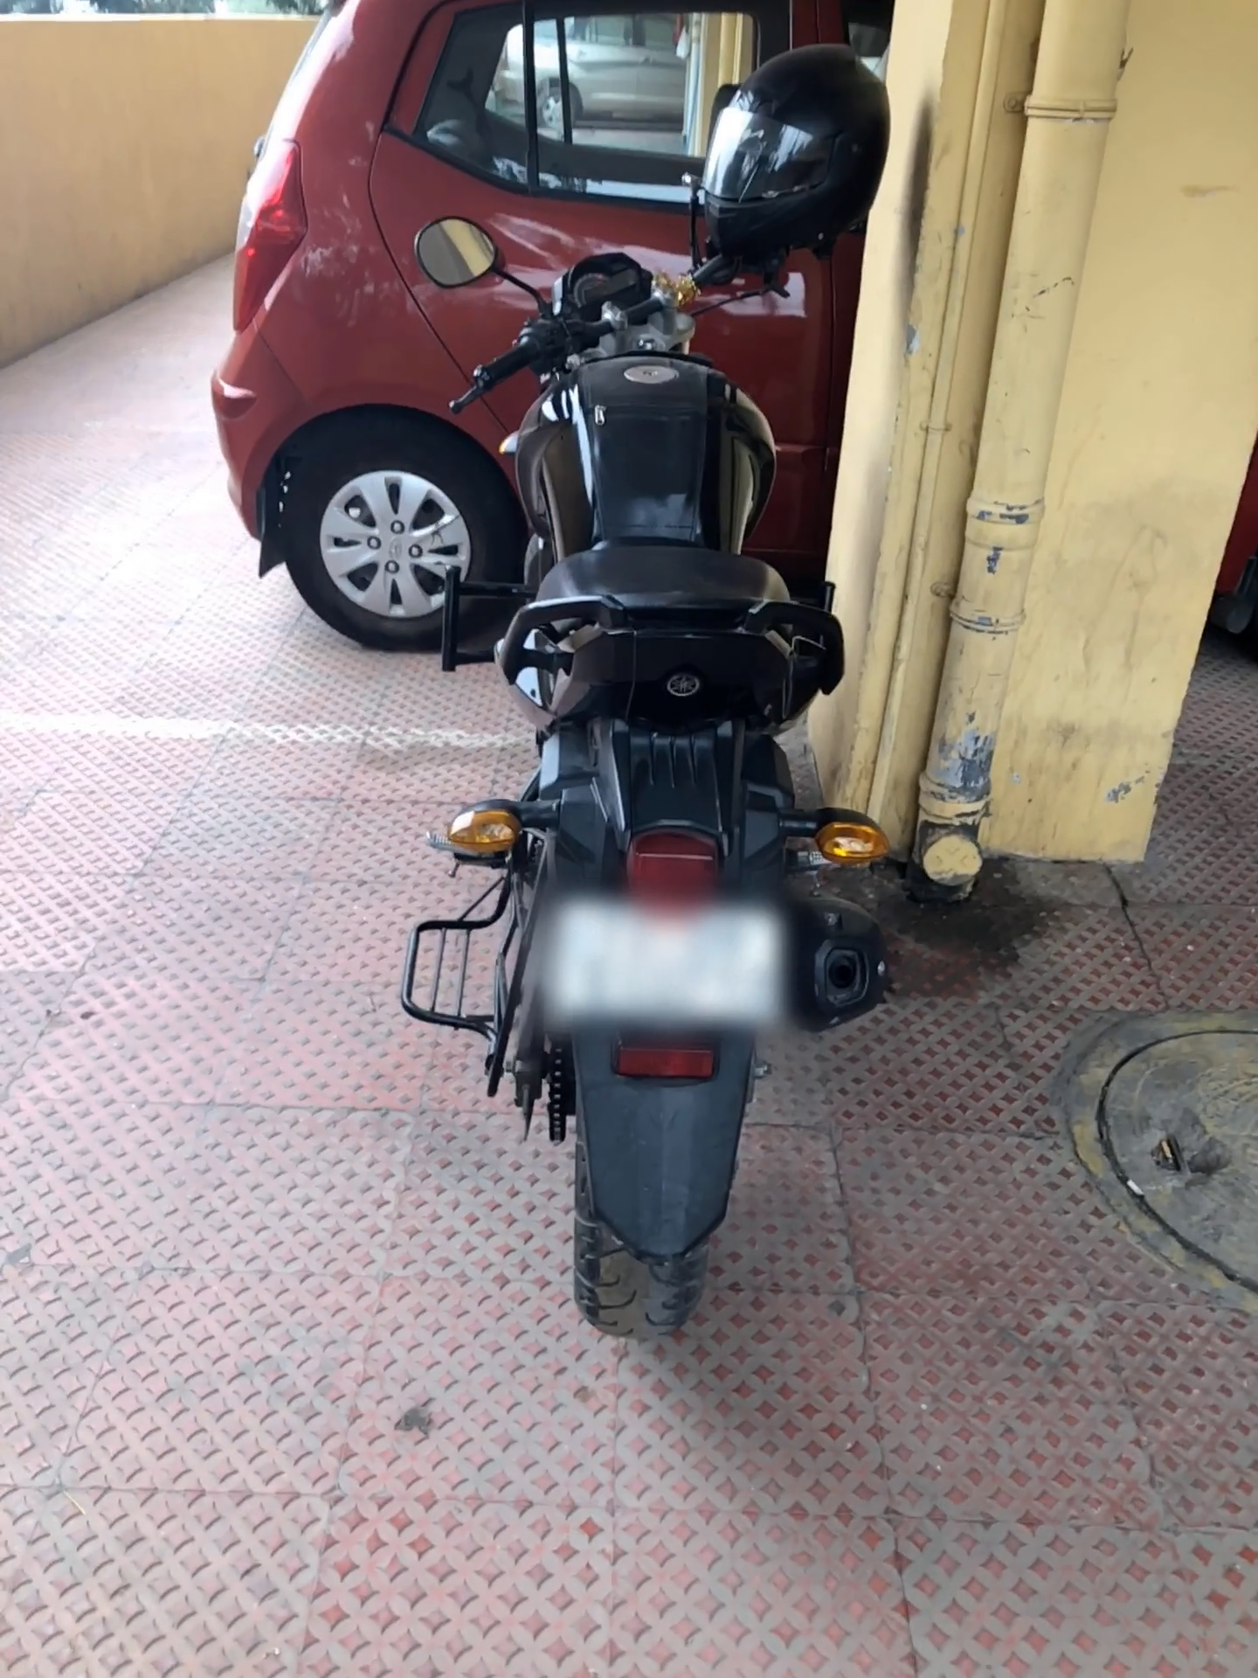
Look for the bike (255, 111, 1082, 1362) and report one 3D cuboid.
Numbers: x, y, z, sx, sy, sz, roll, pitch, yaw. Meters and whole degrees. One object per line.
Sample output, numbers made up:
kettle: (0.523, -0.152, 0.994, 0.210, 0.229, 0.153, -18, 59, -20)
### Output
bike: (-0.113, -0.365, 2.026, 0.610, 1.051, 1.810, -2, 33, -8)
